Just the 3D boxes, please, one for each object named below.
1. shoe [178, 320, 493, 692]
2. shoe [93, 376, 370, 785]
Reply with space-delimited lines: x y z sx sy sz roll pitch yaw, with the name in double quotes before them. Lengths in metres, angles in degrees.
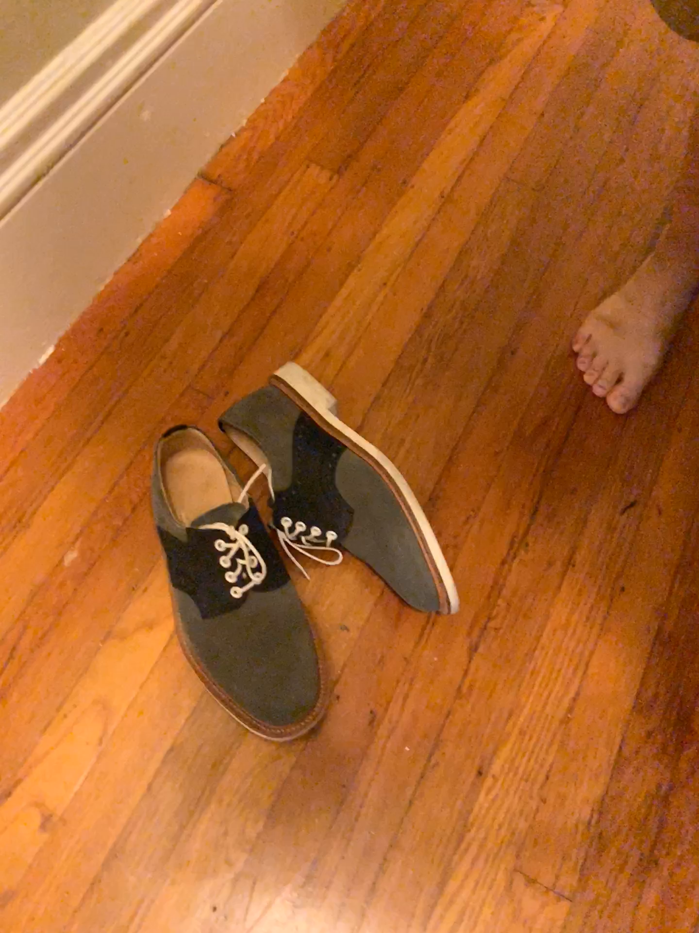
"shoe" -0.021 0.037 0.675 0.120 0.130 0.310 -31 71 -14
"shoe" -0.107 0.092 0.624 0.130 0.100 0.311 -19 69 -12
